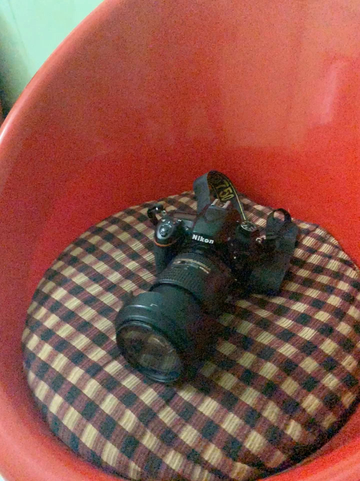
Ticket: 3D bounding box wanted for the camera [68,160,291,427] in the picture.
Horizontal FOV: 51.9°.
[{"bbox_3d":[0.023,0.050,0.479,0.160,0.179,0.253,15,46,22],"label":"camera"}]
